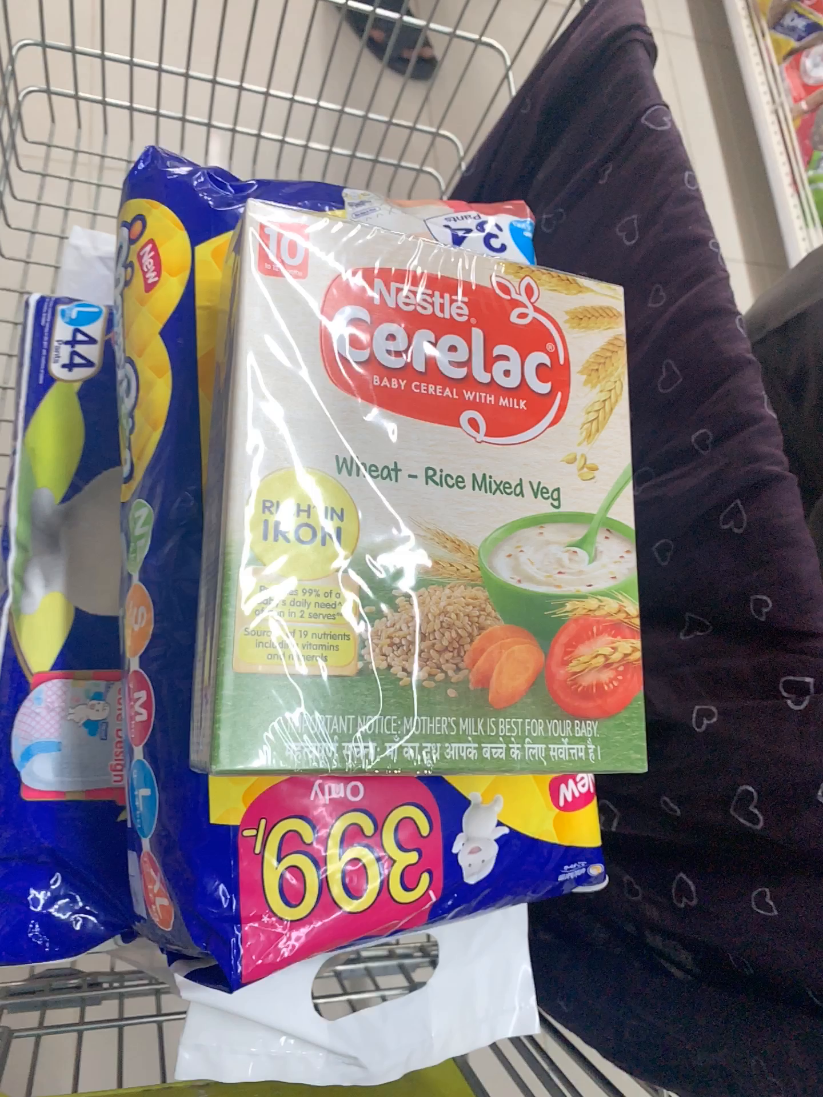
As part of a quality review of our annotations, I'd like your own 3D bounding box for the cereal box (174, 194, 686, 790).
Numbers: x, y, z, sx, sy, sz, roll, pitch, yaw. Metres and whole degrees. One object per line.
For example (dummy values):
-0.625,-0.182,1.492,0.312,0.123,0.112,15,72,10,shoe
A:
0.008,-0.012,0.297,0.160,0.050,0.180,5,76,-21,cereal box
